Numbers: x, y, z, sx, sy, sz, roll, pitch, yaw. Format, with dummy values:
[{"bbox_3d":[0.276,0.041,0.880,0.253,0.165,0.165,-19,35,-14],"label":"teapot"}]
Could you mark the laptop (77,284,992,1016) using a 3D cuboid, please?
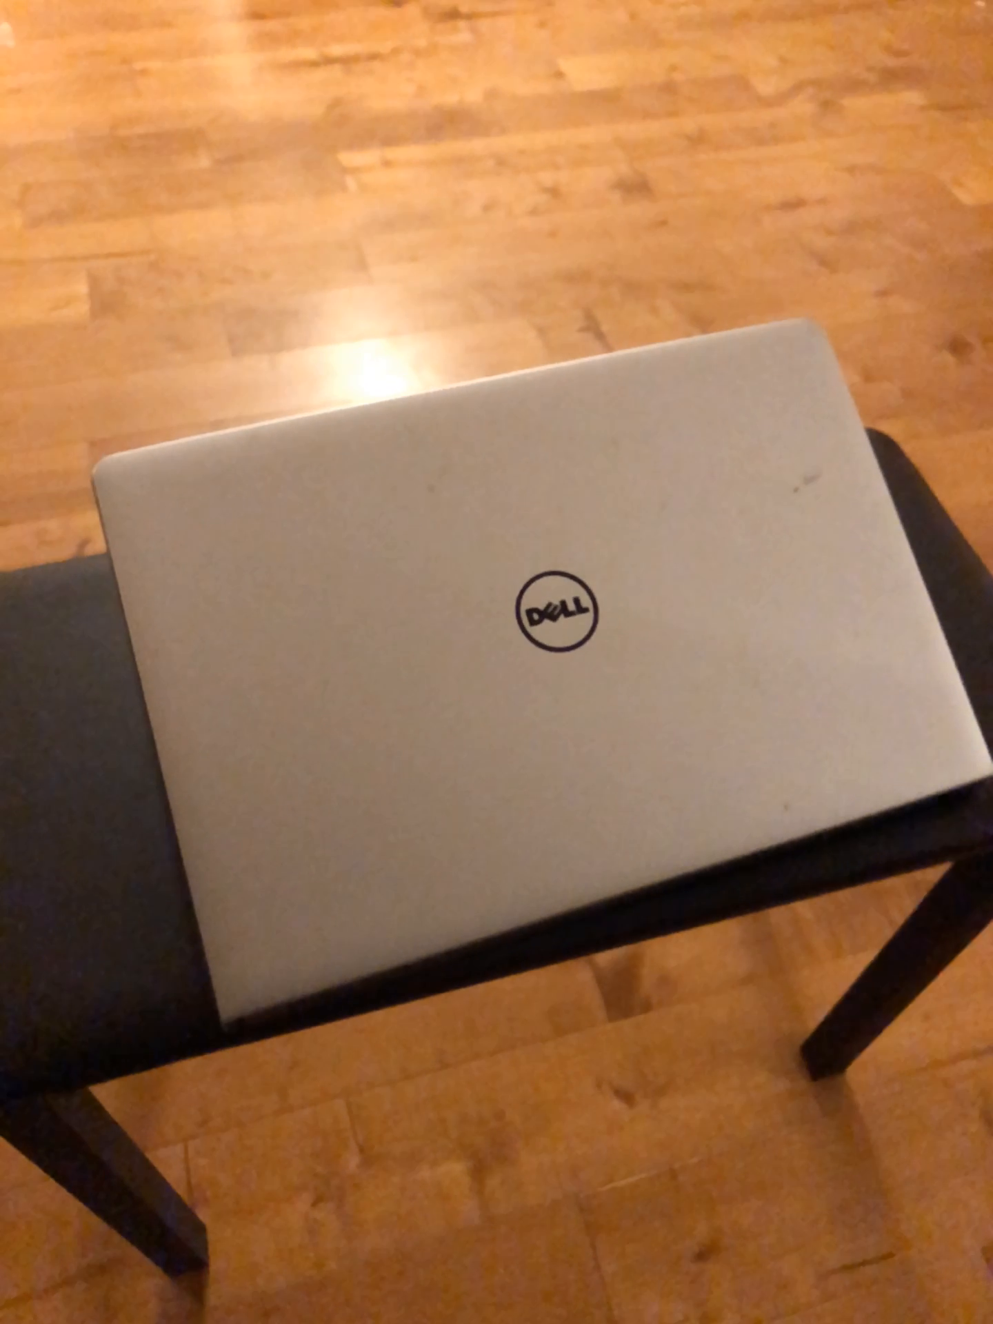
[{"bbox_3d":[0.022,-0.027,0.516,0.365,0.107,0.248,-15,56,-13],"label":"laptop"}]
